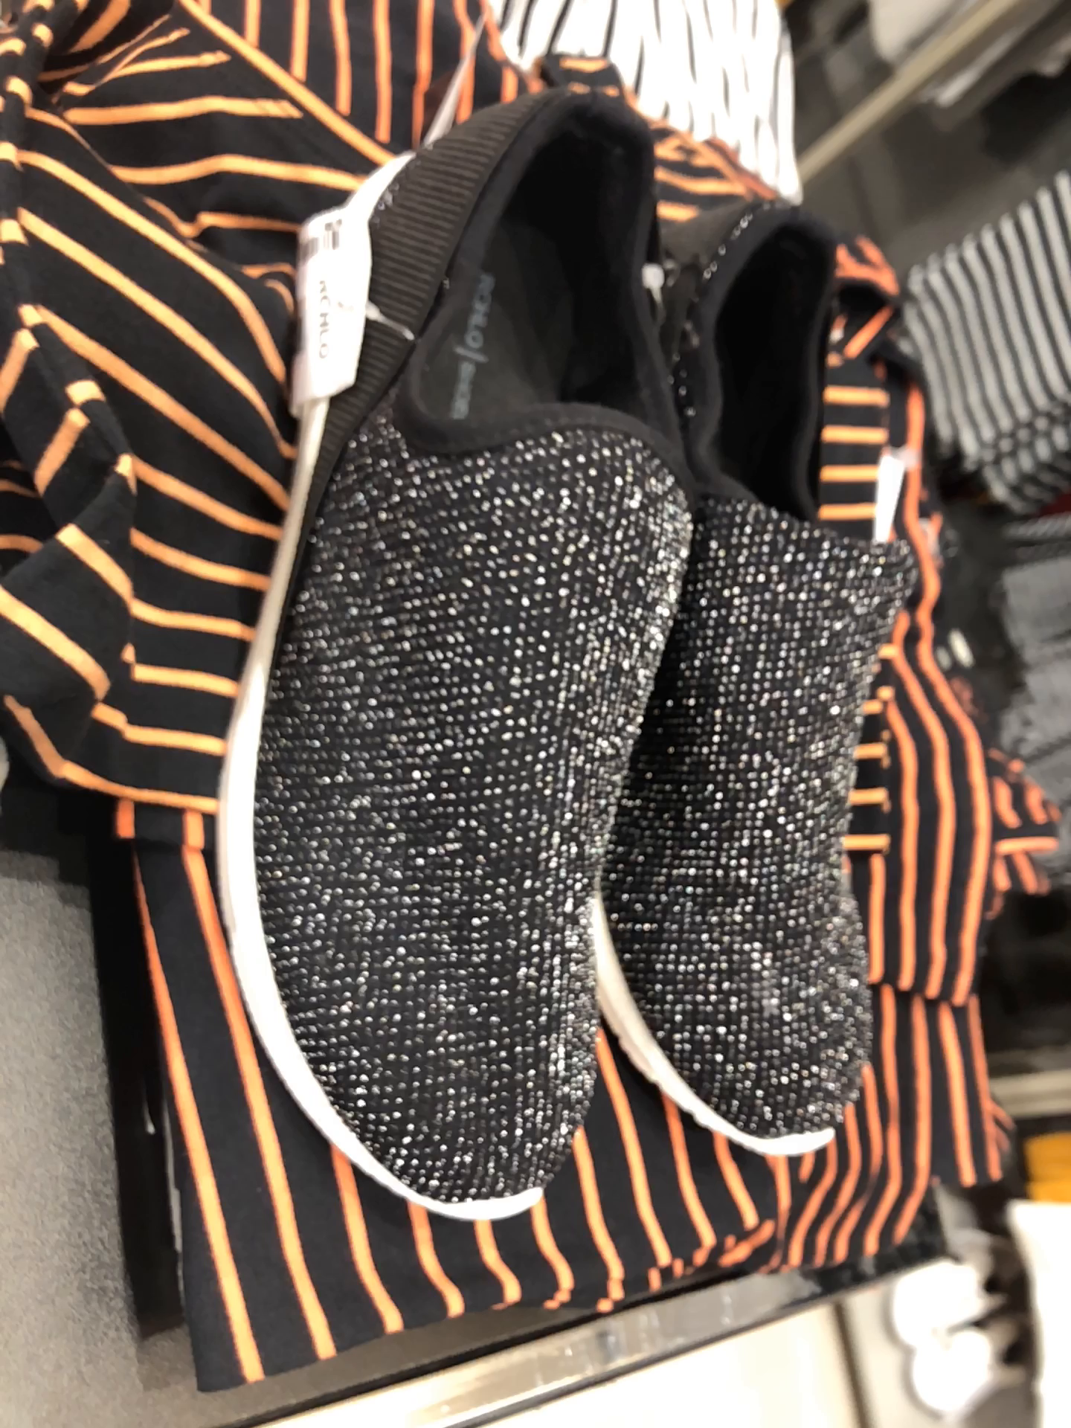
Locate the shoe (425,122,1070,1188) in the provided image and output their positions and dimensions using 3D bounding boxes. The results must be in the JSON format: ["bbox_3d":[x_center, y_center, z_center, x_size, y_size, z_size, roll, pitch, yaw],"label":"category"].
[{"bbox_3d":[0.060,-0.010,0.329,0.101,0.109,0.240,2,69,-38],"label":"shoe"}]

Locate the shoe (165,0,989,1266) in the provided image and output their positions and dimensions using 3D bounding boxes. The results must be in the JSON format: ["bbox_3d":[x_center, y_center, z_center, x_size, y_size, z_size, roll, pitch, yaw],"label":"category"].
[{"bbox_3d":[-0.006,-0.018,0.269,0.101,0.109,0.240,5,68,-38],"label":"shoe"}]
